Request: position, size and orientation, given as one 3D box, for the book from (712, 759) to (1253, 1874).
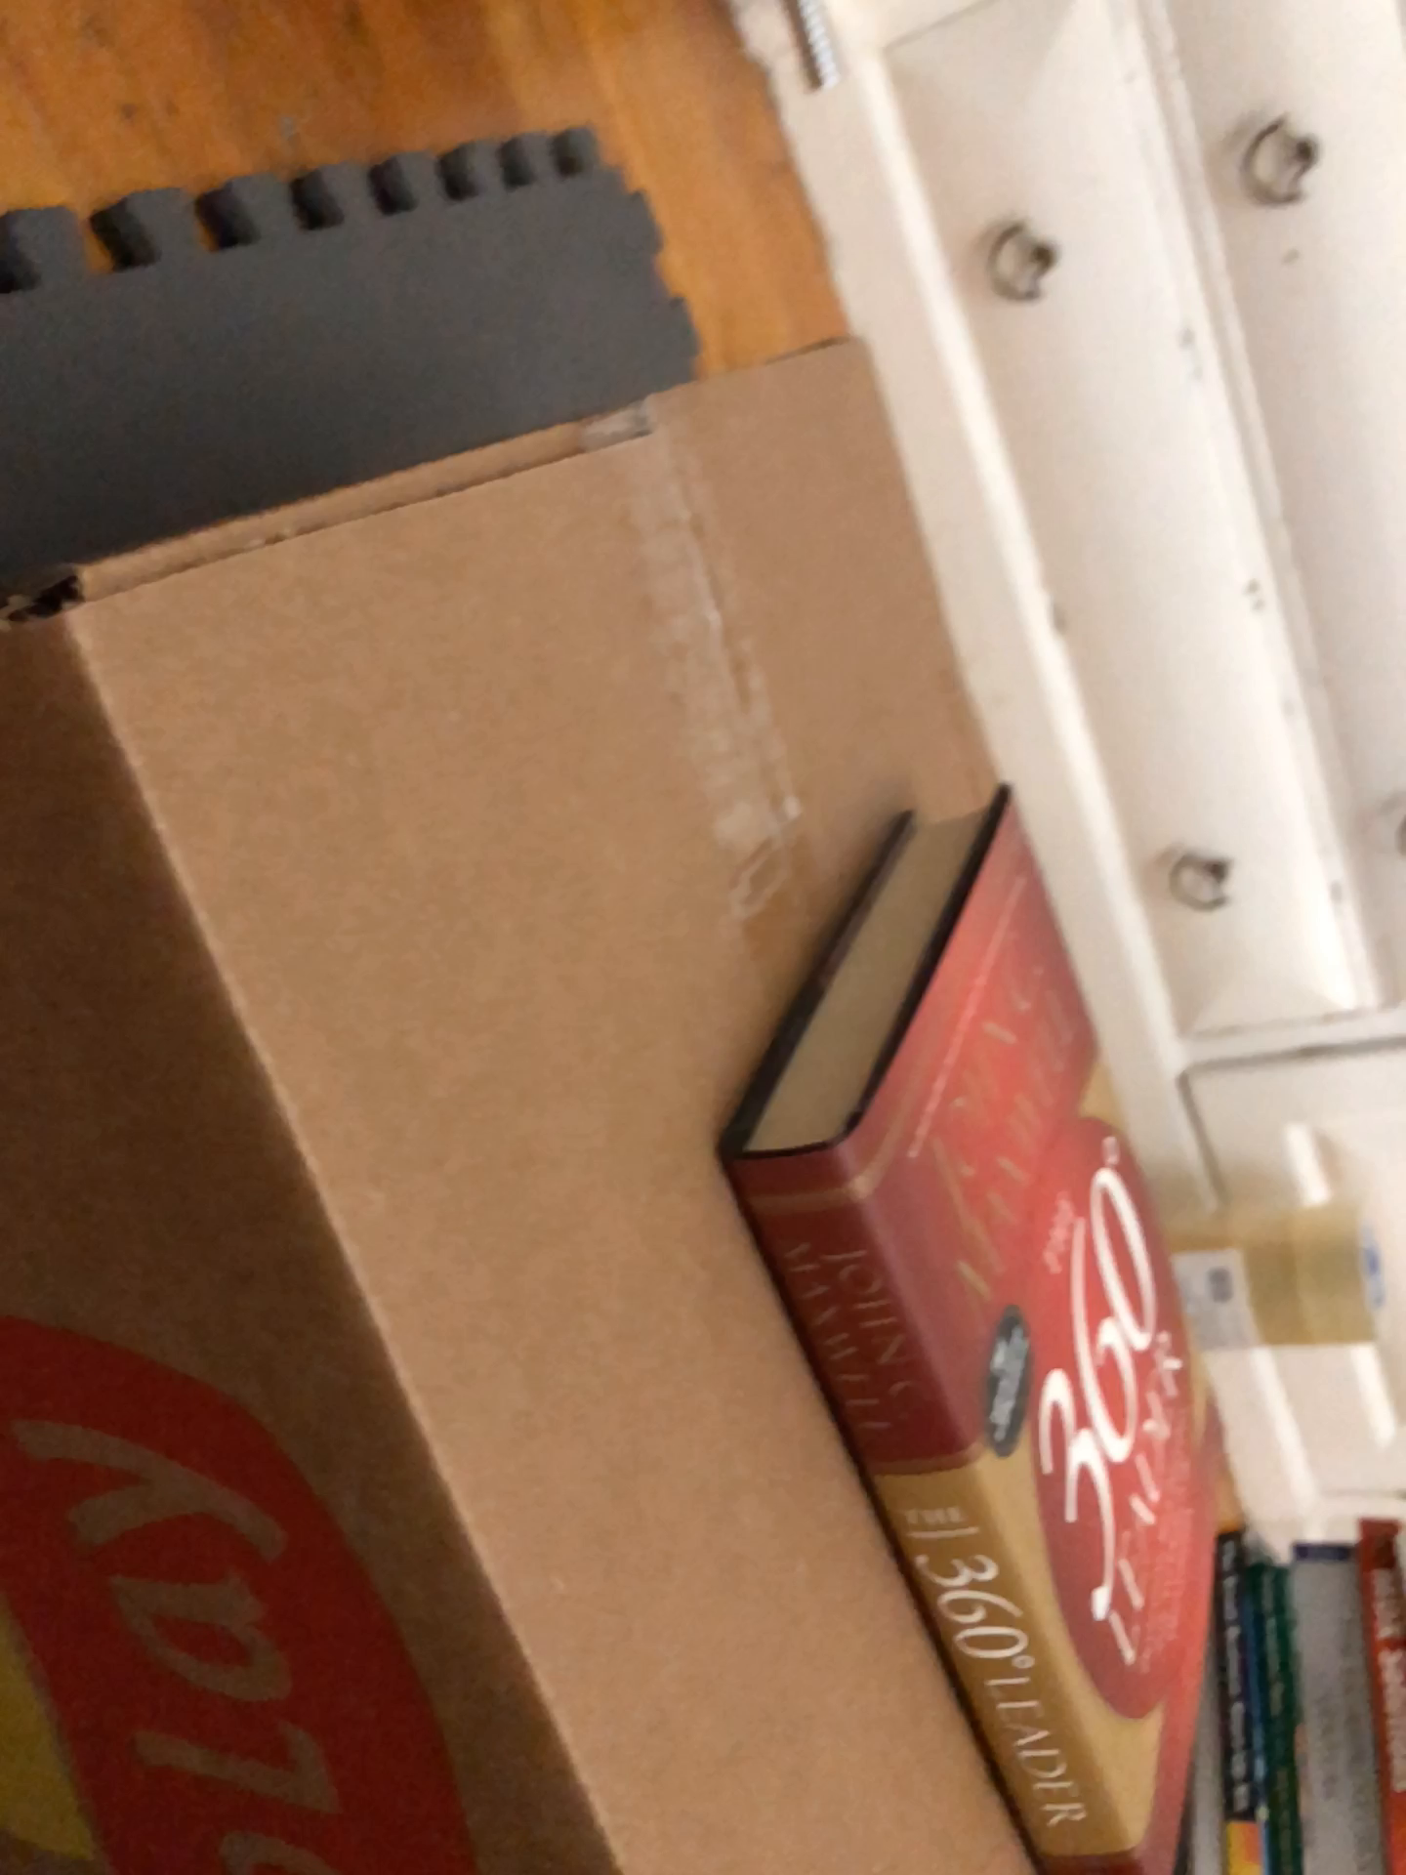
[{"bbox_3d":[0.091,0.101,0.405,0.240,0.030,0.181,67,31,-21],"label":"book"}]
